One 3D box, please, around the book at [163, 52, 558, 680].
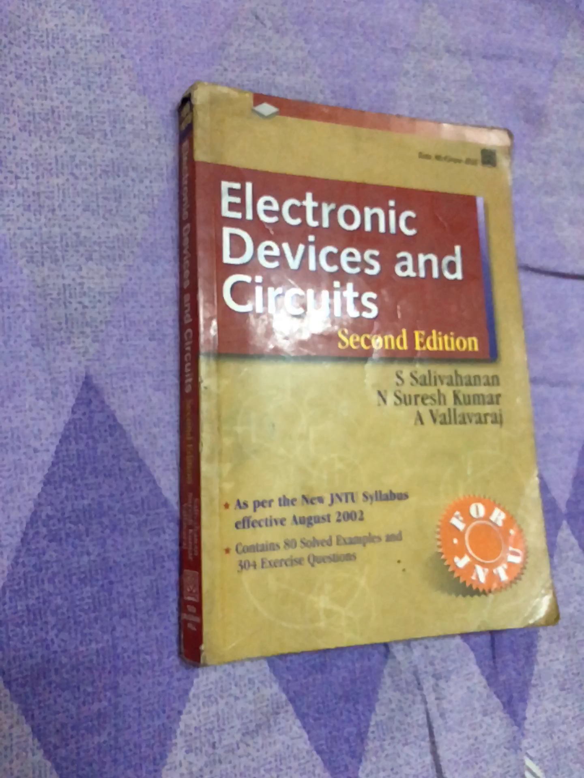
[{"bbox_3d":[0.028,-0.013,0.292,0.160,0.040,0.240,0,83,-18],"label":"book"}]
